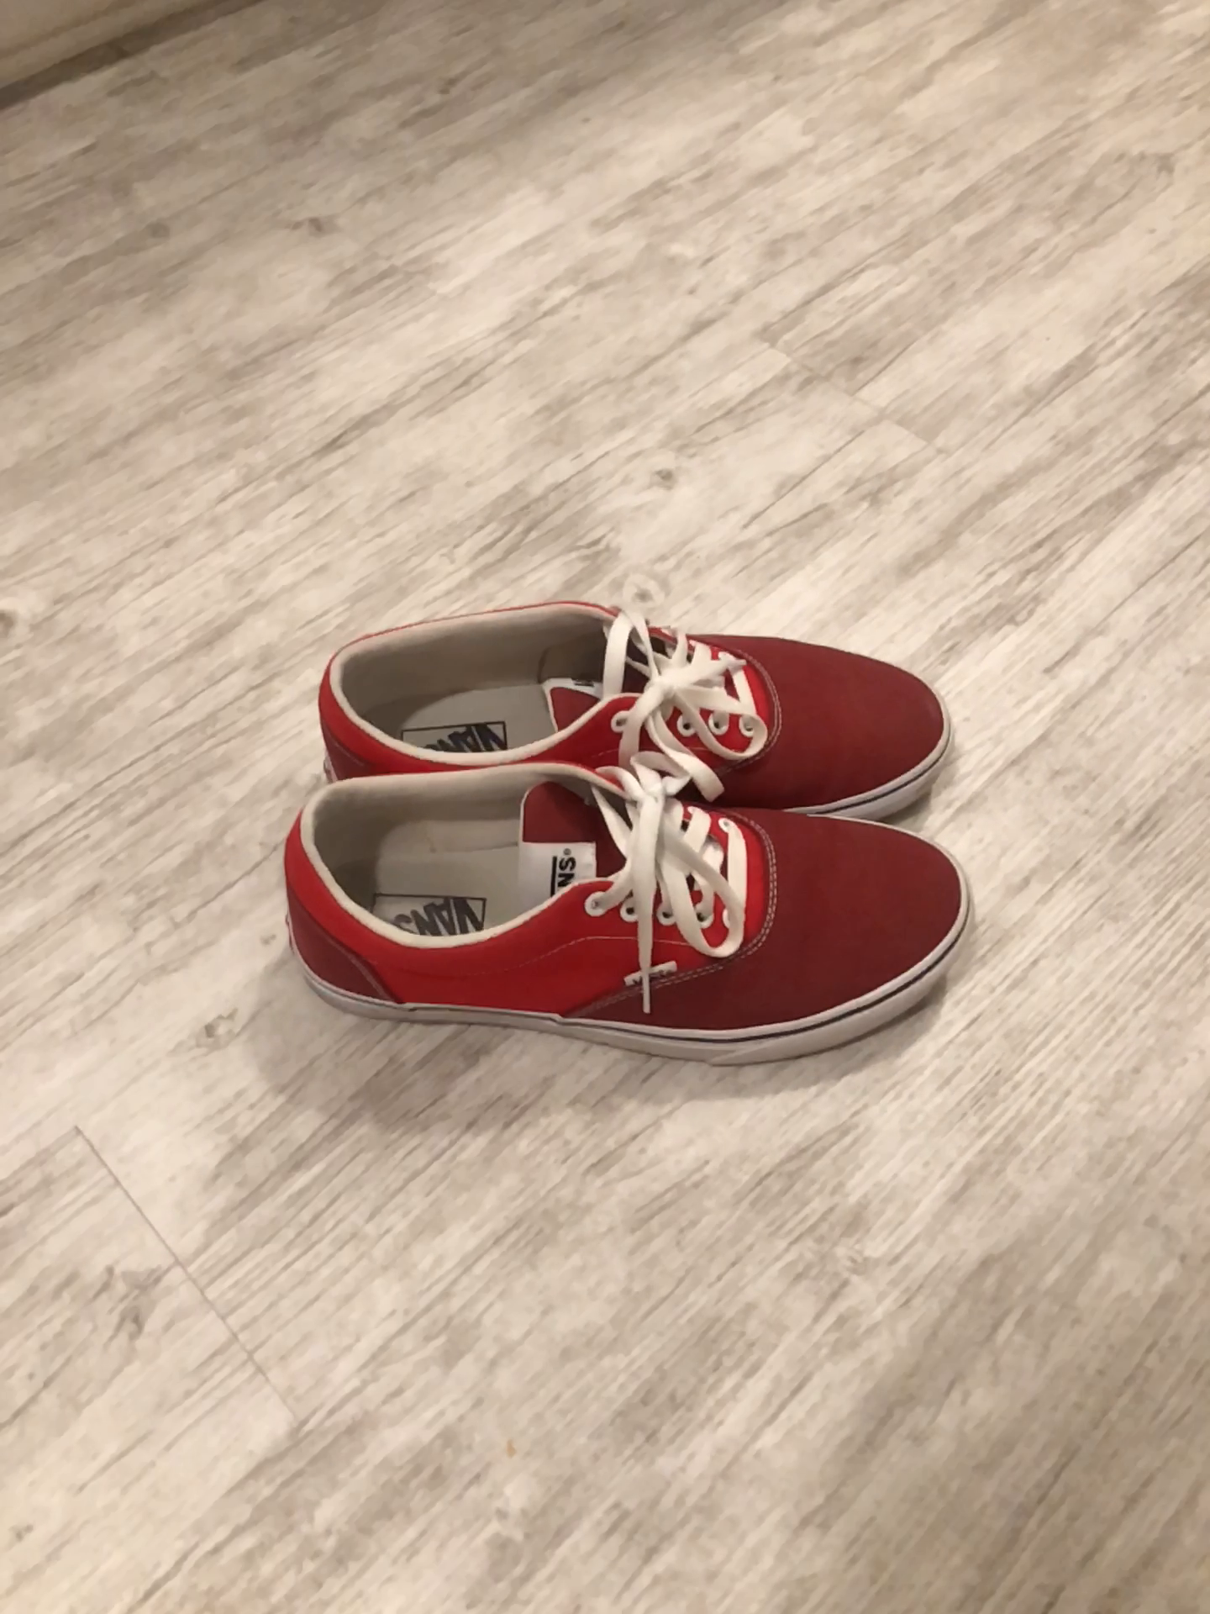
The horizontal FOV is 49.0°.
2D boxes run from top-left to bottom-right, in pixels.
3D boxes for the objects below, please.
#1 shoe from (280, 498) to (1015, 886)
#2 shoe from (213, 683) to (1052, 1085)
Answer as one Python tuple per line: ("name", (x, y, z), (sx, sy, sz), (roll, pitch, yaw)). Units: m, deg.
("shoe", (0.012, -0.047, 0.545), (0.266, 0.088, 0.110), (-4, 57, -2))
("shoe", (0.008, 0.030, 0.498), (0.272, 0.093, 0.110), (-2, 57, 0))
